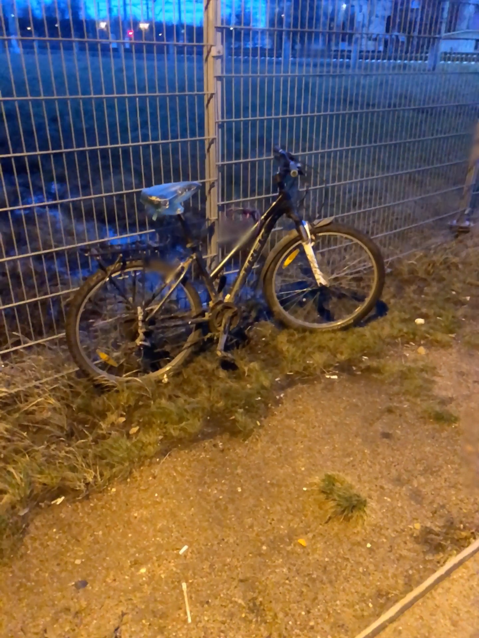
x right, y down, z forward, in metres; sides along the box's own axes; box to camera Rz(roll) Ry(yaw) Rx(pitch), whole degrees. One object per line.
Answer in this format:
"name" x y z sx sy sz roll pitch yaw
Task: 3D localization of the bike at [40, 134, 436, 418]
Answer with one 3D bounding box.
"bike" -0.011 -0.275 2.480 1.584 0.947 0.572 -11 29 -19
